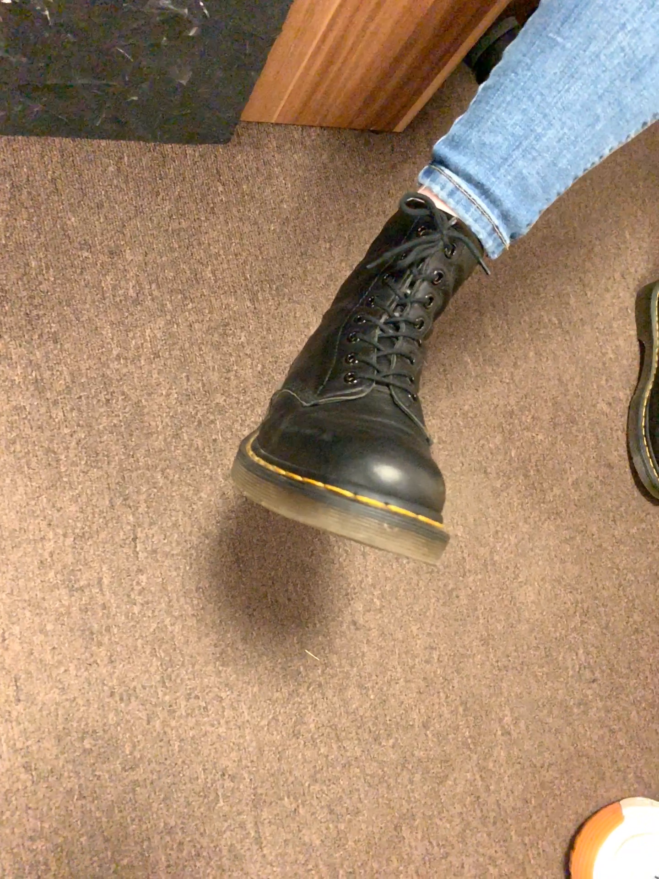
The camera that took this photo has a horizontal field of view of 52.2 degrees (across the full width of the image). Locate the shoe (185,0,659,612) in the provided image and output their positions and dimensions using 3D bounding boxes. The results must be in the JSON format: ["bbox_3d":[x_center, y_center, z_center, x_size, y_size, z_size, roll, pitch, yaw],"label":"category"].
[{"bbox_3d":[0.017,-0.091,0.449,0.120,0.370,0.230,26,96,-19],"label":"shoe"}]
